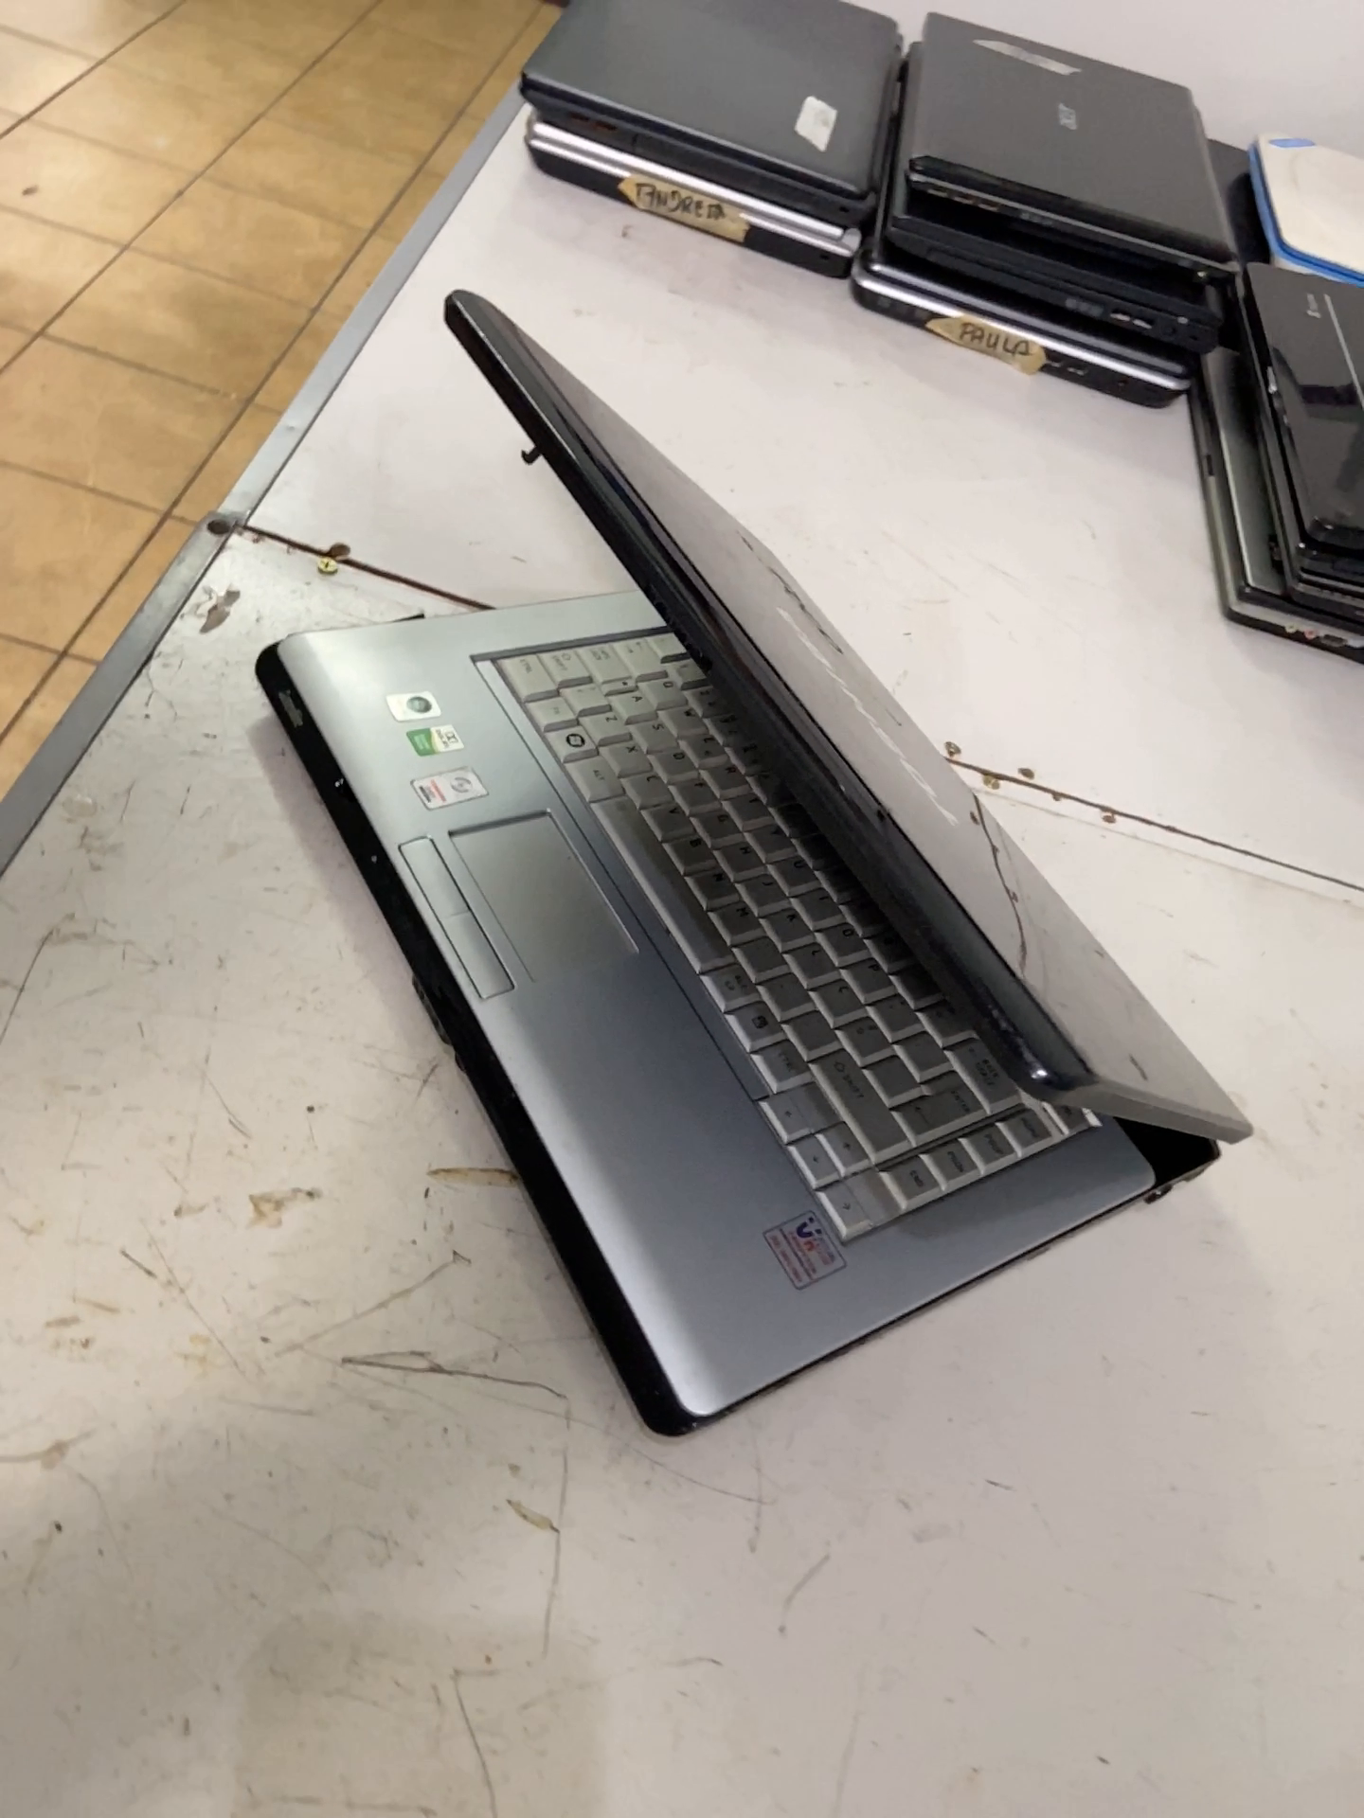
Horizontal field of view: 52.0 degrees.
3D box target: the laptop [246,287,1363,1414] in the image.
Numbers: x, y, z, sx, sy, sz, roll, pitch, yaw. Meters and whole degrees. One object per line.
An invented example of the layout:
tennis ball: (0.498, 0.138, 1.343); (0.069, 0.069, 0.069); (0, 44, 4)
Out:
laptop: (0.035, -0.057, 0.498); (0.258, 0.152, 0.346); (-15, 57, -31)
